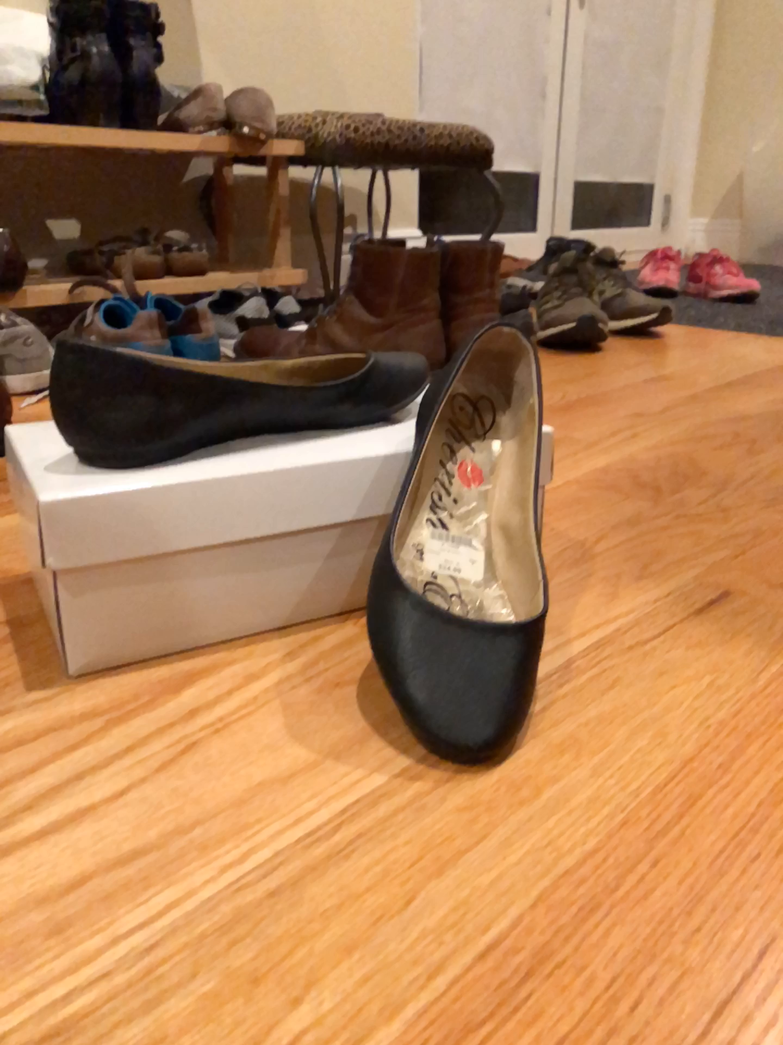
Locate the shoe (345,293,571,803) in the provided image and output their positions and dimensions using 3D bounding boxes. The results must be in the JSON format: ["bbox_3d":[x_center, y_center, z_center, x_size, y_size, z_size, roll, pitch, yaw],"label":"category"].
[{"bbox_3d":[0.038,0.001,0.421,0.076,0.060,0.241,14,56,-7],"label":"shoe"}]

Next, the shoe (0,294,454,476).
[{"bbox_3d":[-0.080,-0.086,0.480,0.240,0.060,0.076,-15,26,-35],"label":"shoe"}]
